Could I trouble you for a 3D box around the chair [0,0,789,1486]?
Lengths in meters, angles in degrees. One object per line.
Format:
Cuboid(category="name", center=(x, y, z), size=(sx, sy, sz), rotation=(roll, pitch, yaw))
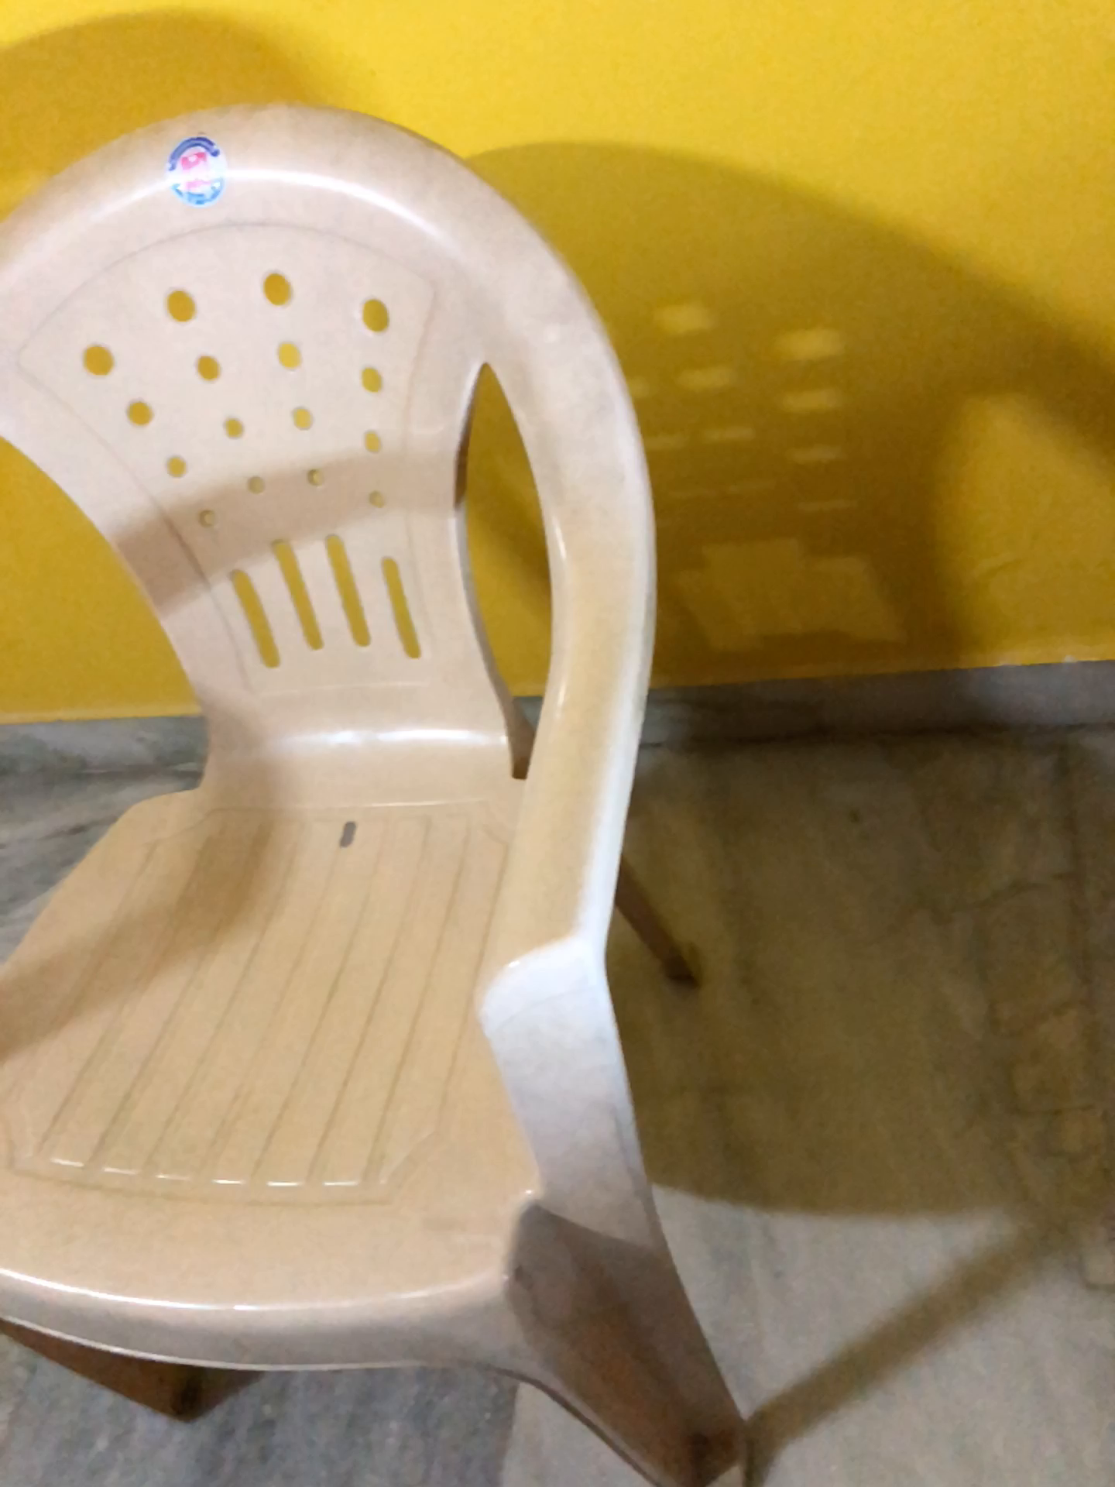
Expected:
Cuboid(category="chair", center=(-0.180, 0.094, 0.798), size=(0.530, 0.786, 0.563), rotation=(-3, 49, 18))
